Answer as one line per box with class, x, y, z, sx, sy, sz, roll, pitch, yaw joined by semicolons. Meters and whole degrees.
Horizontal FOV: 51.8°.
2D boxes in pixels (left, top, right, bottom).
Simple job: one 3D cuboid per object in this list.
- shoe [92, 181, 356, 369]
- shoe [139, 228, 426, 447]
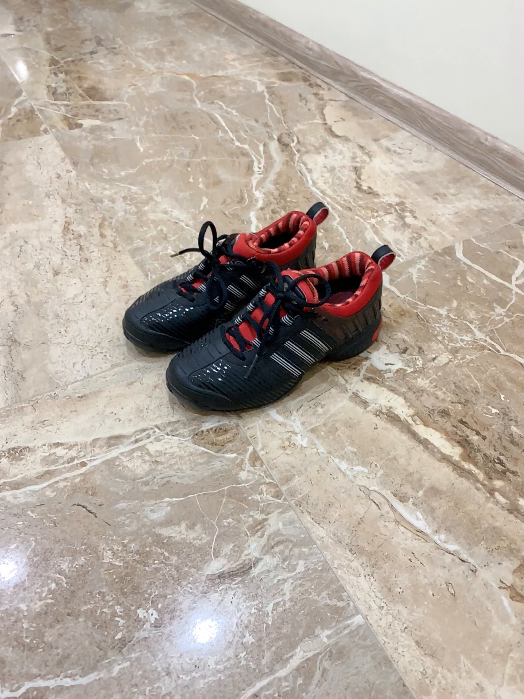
shoe;-0.035;-0.092;0.607;0.270;0.090;0.096;-25;51;-24
shoe;0.026;-0.022;0.549;0.270;0.090;0.096;-25;51;-24
